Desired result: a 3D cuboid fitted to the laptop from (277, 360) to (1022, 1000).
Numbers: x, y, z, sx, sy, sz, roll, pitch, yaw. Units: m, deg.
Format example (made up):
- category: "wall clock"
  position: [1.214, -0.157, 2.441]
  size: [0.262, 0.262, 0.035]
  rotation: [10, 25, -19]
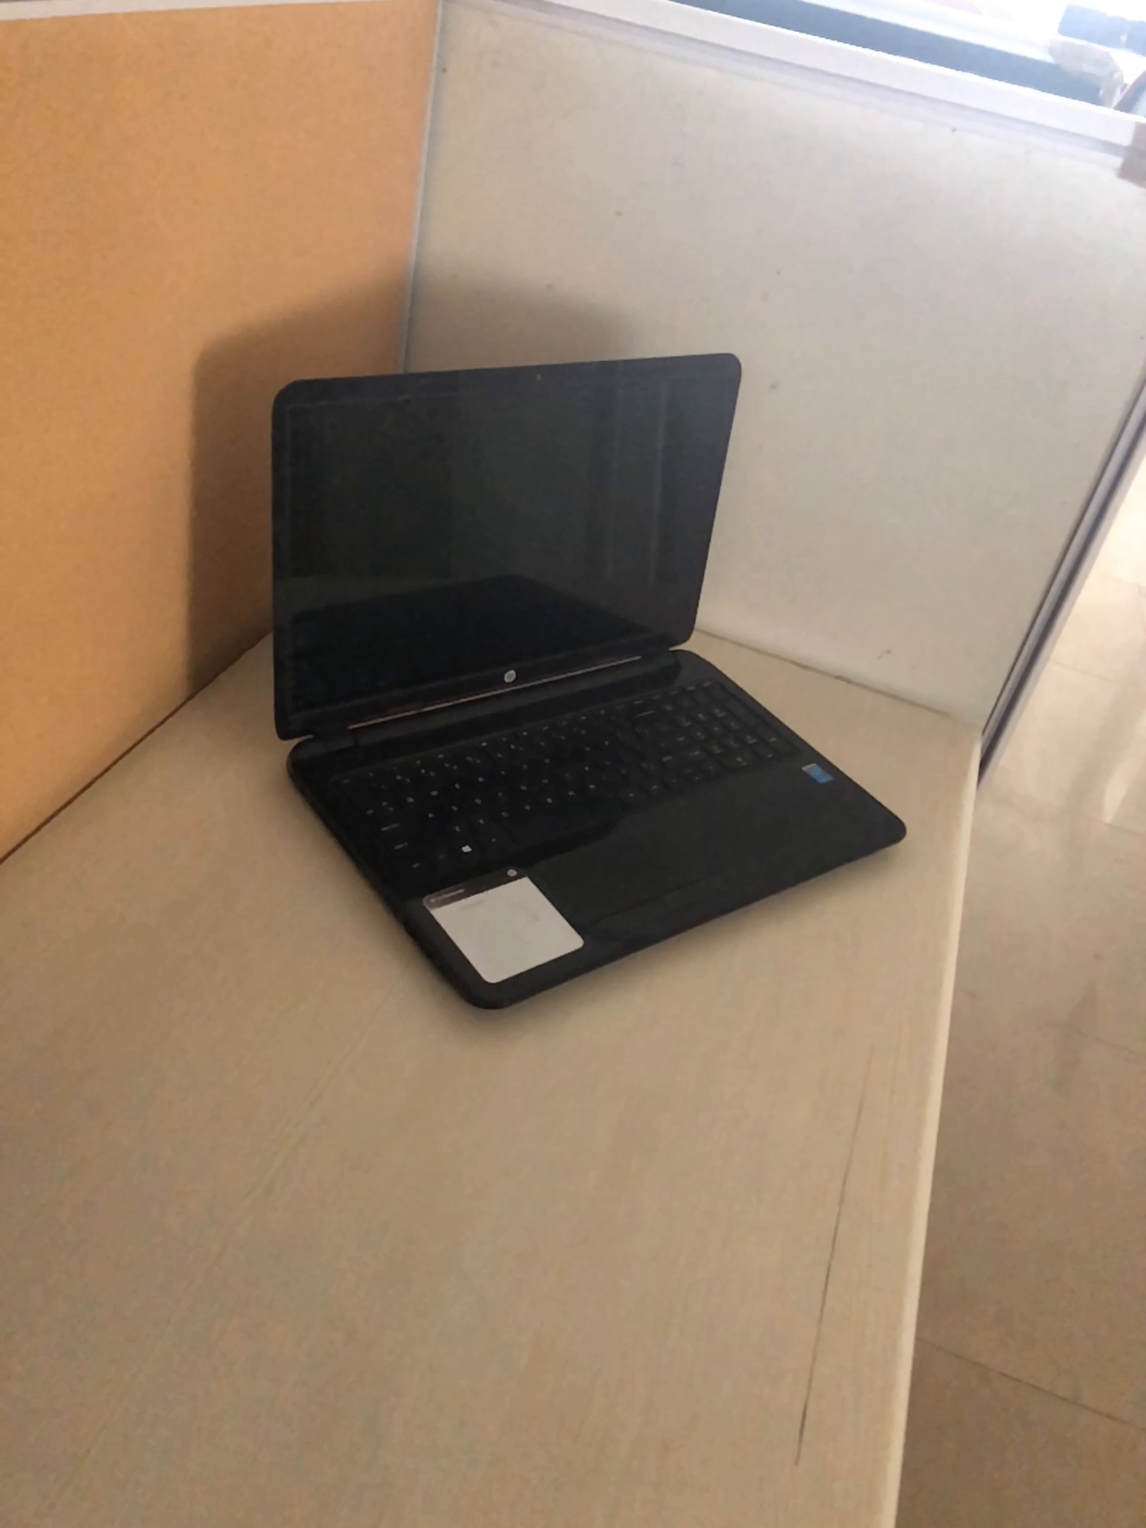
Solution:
- category: "laptop"
  position: [0.037, -0.082, 0.791]
  size: [0.351, 0.225, 0.266]
  rotation: [-16, 46, -35]
